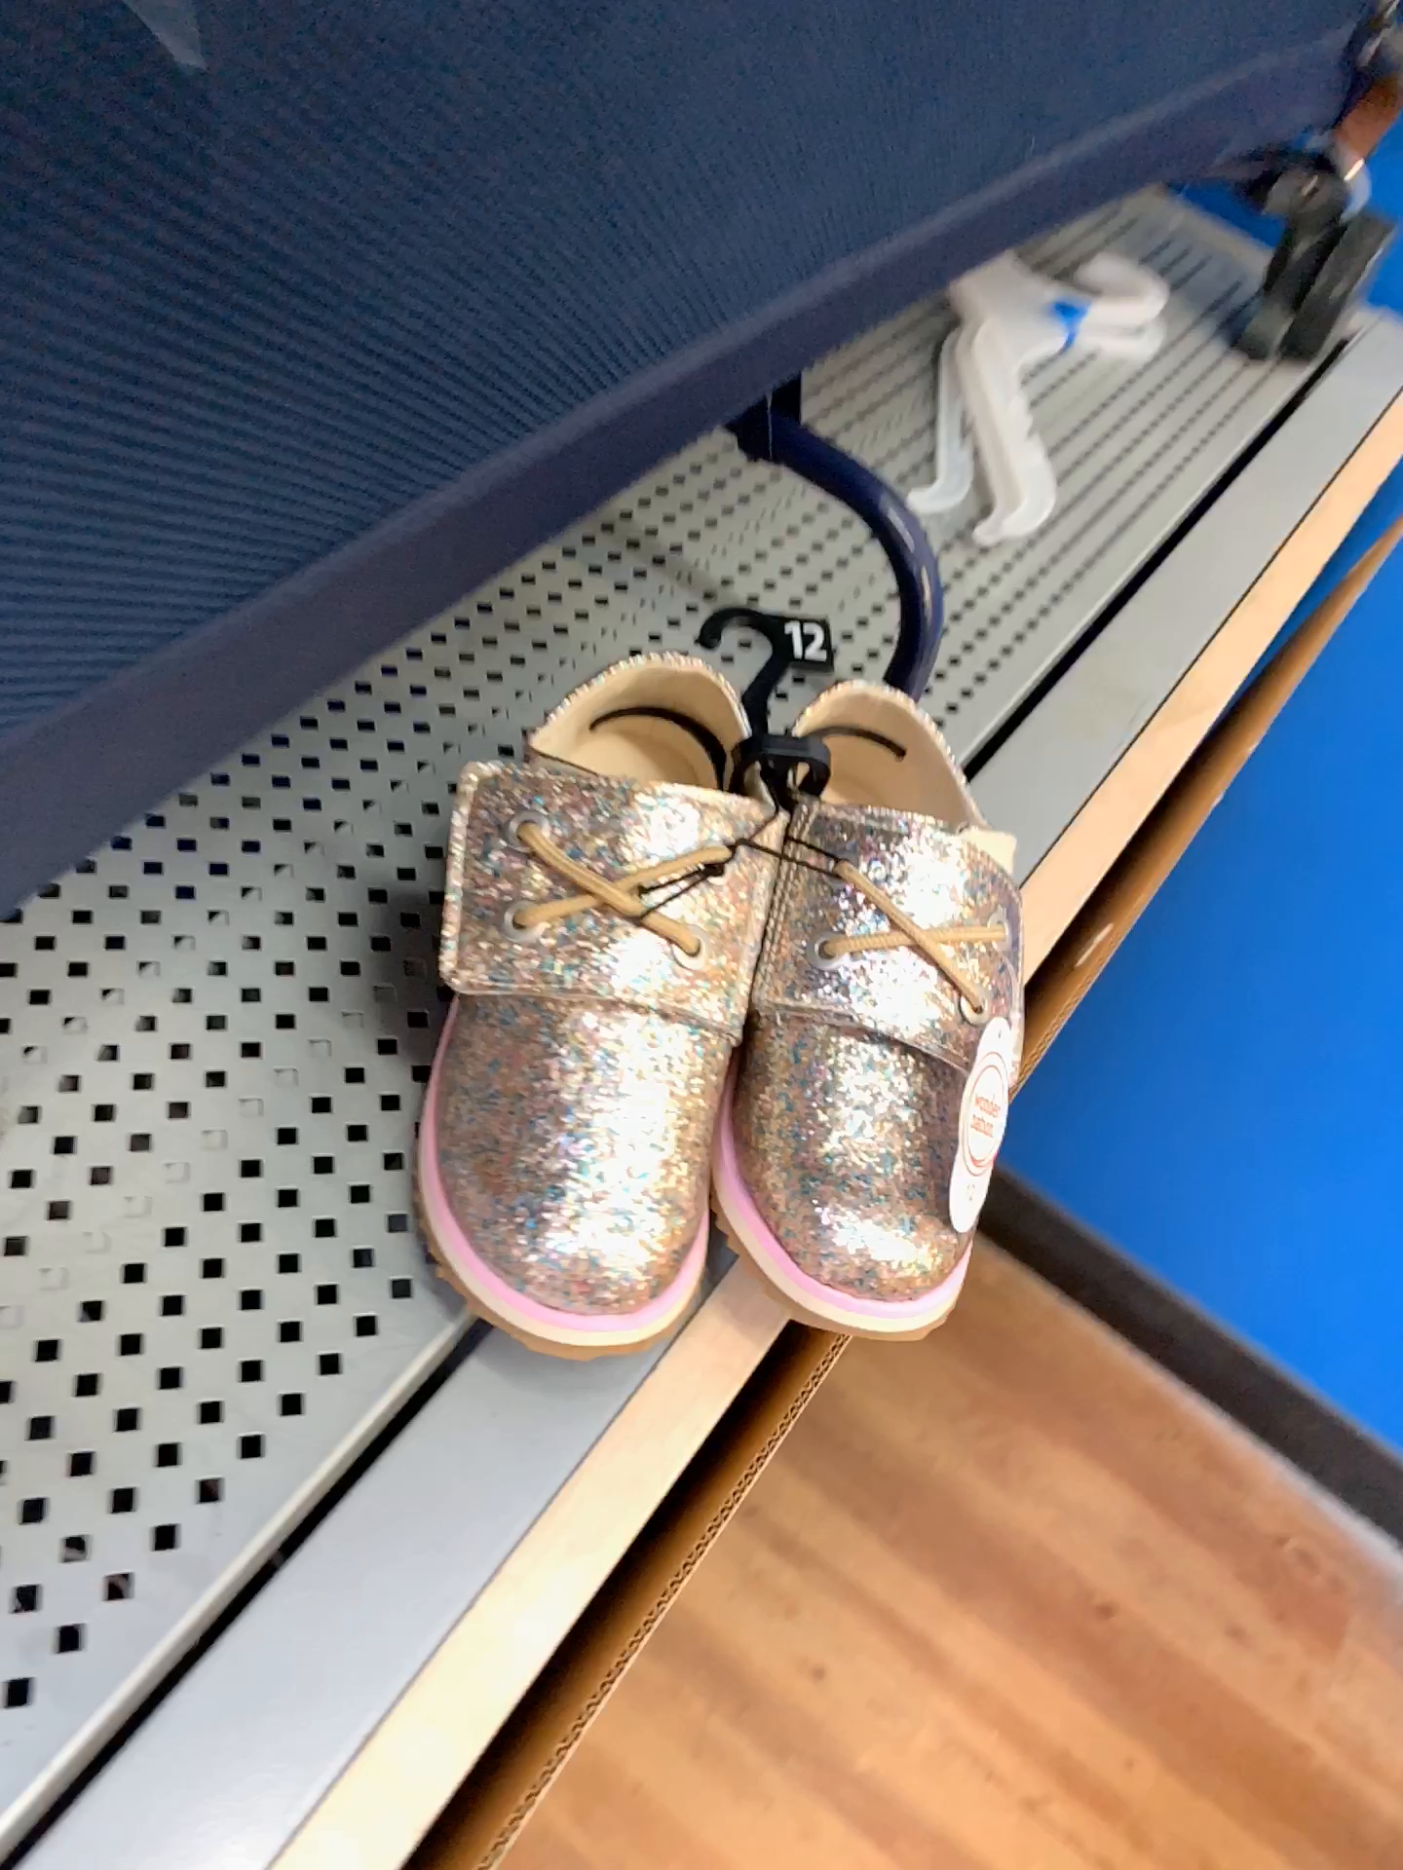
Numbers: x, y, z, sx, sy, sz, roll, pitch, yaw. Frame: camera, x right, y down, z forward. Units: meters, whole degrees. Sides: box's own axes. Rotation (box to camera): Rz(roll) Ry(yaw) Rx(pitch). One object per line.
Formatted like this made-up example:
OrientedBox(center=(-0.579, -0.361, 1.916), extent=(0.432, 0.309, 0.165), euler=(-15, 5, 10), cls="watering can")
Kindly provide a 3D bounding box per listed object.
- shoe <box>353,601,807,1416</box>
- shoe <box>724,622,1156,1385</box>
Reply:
OrientedBox(center=(-0.026, 0.012, 0.386), extent=(0.083, 0.070, 0.199), euler=(13, 51, -9), cls="shoe")
OrientedBox(center=(0.056, 0.011, 0.409), extent=(0.086, 0.060, 0.206), euler=(10, 51, -12), cls="shoe")
